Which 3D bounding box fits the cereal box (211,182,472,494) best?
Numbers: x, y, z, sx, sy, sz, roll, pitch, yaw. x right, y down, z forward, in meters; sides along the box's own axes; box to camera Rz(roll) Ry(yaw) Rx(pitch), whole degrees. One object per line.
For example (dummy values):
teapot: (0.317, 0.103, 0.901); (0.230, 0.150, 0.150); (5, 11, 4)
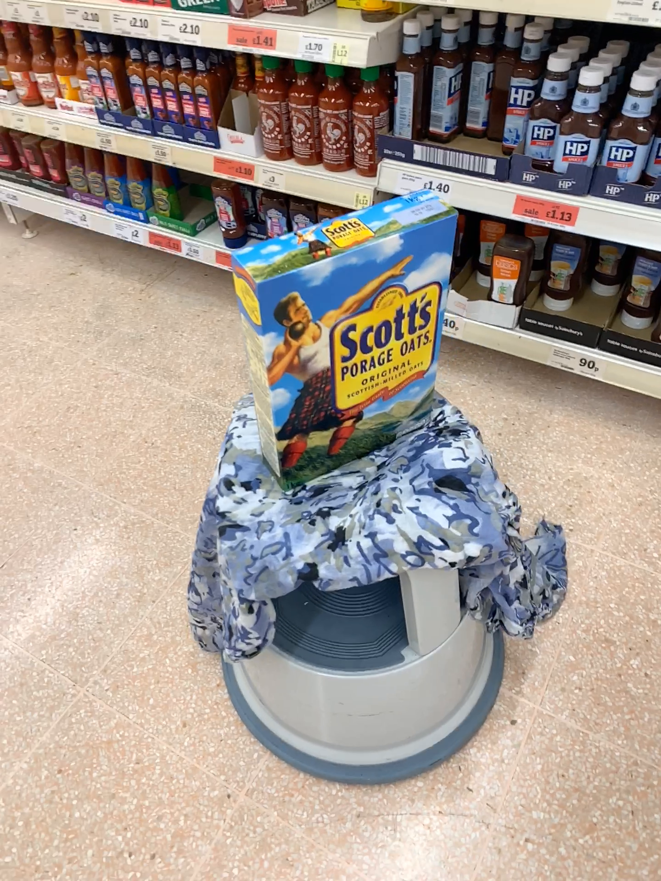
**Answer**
cereal box: (0.016, -0.088, 0.639); (0.210, 0.248, 0.060); (-24, 52, -17)
